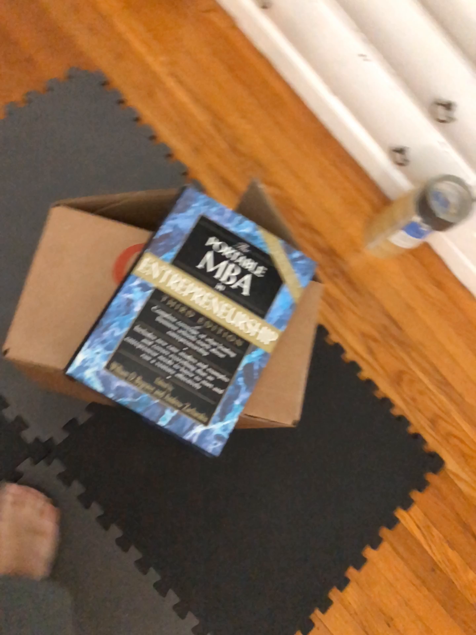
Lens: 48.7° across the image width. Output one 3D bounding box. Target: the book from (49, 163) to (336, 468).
[{"bbox_3d":[-0.043,-0.005,0.603,0.210,0.060,0.270,31,74,-6],"label":"book"}]
